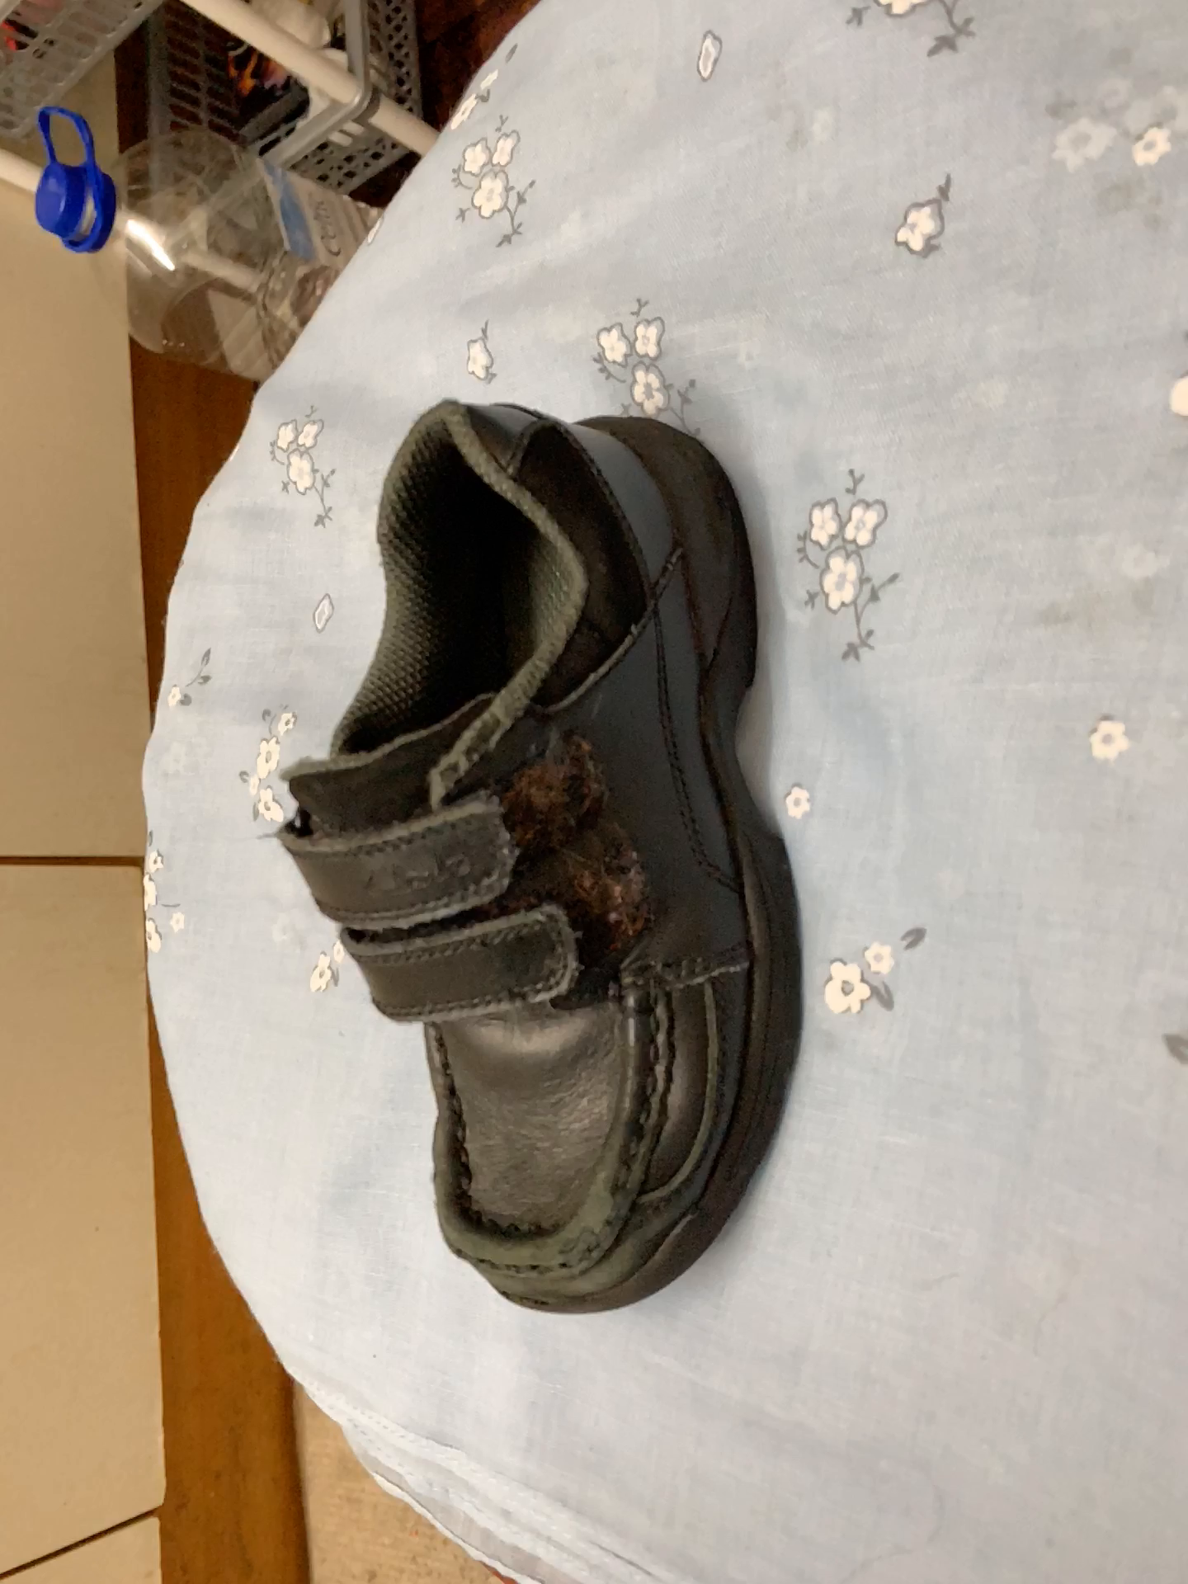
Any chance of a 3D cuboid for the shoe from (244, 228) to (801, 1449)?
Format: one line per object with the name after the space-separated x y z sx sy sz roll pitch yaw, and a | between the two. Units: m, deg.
-0.012 0.007 0.243 0.079 0.073 0.190 -3 84 39 | shoe
